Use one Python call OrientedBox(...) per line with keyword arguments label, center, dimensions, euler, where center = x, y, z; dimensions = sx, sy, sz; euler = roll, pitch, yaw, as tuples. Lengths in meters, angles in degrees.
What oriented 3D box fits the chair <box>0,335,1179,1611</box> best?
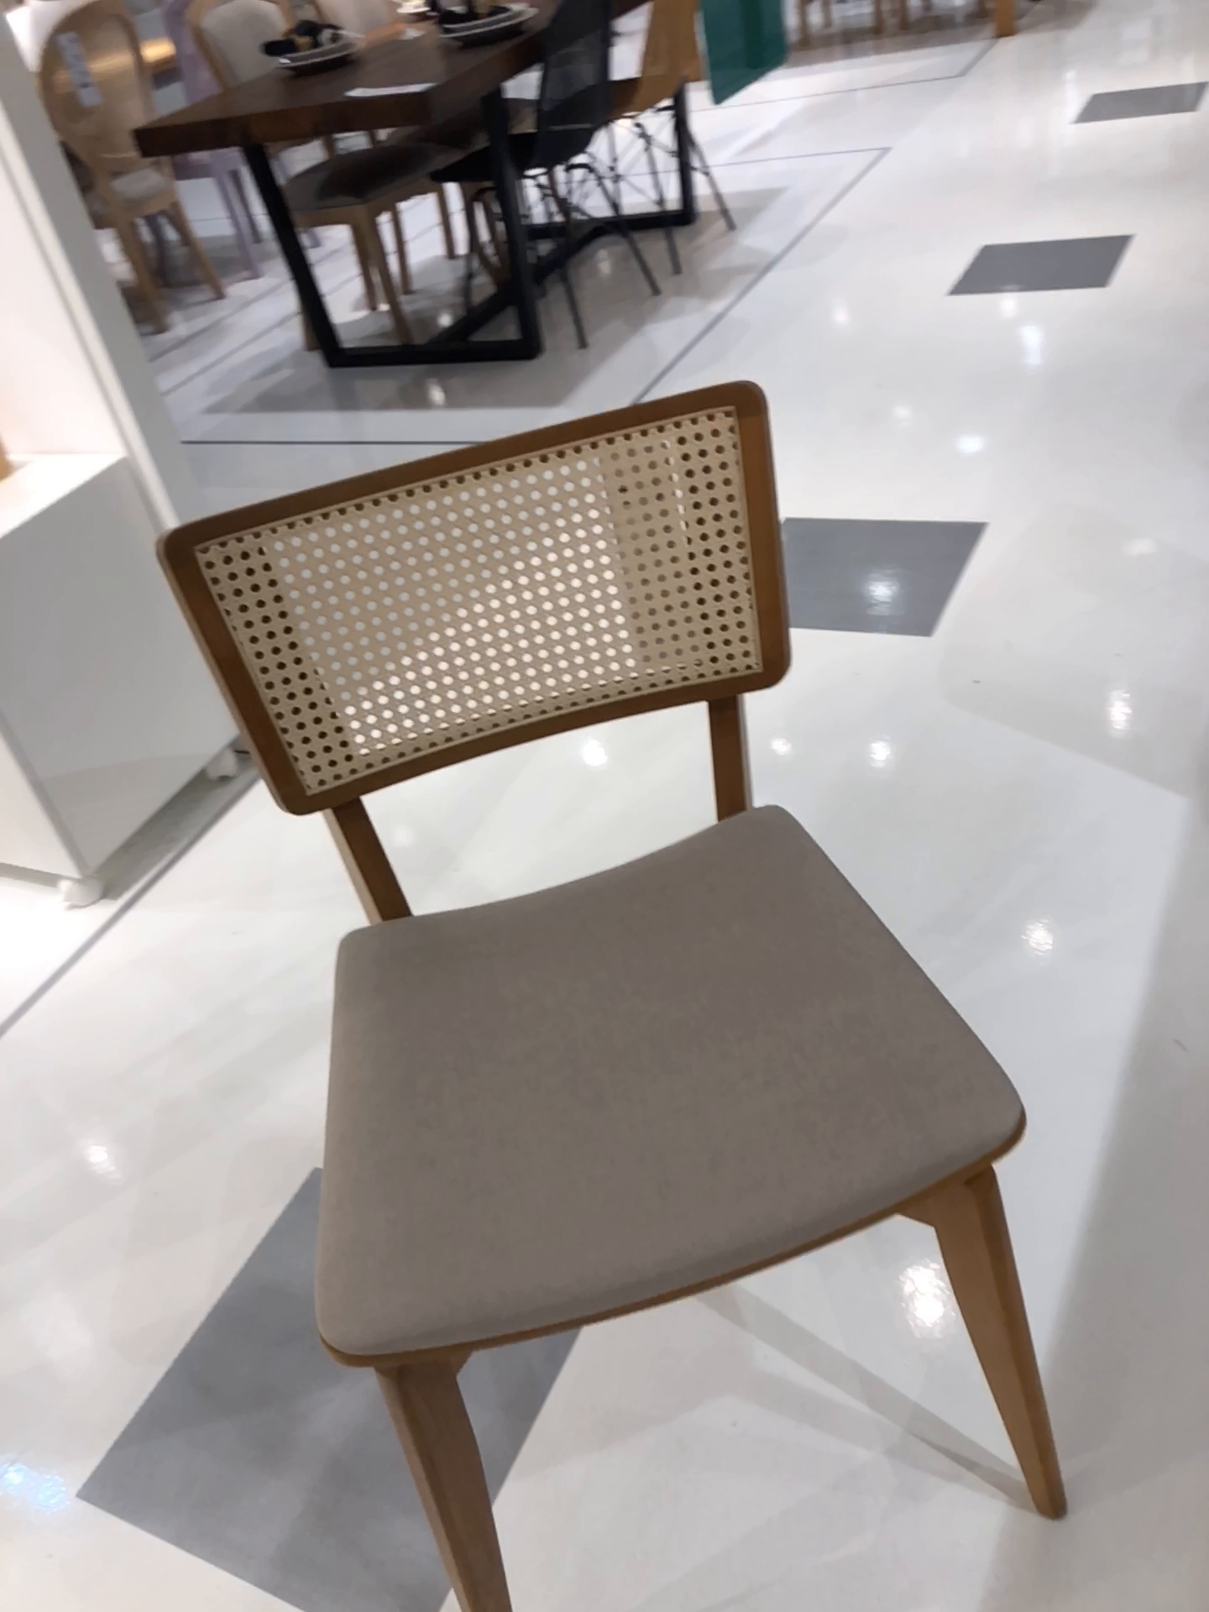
OrientedBox(label="chair", center=(0.014, 0.171, 1.058), dimensions=(0.540, 0.794, 0.604), euler=(-17, 36, -4))
